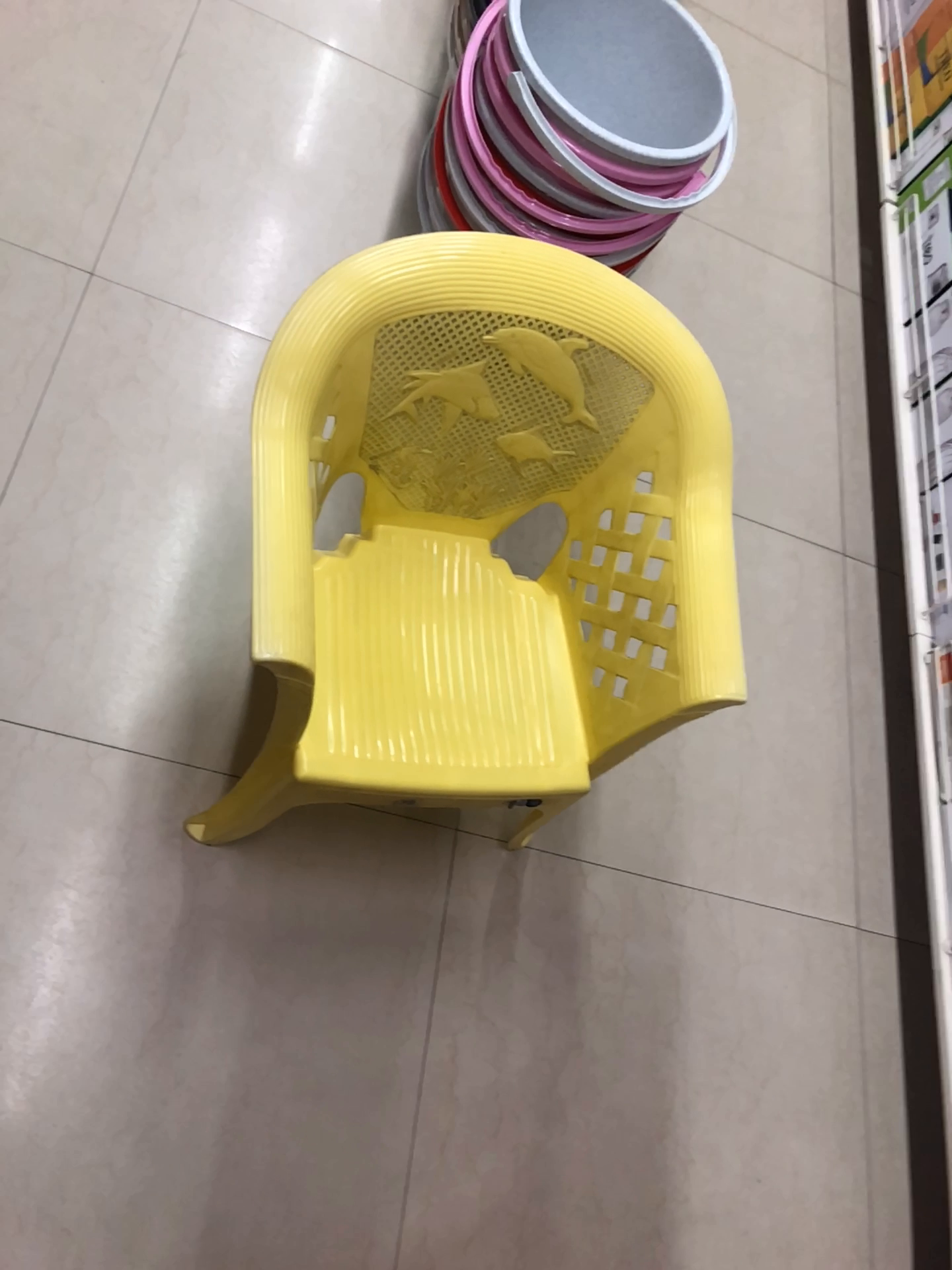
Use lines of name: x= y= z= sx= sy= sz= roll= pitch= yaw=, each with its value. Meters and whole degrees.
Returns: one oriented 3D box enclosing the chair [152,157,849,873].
chair: x=-0.018 y=-0.055 z=0.975 sx=0.471 sy=0.398 sz=0.471 roll=6 pitch=66 yaw=-22
